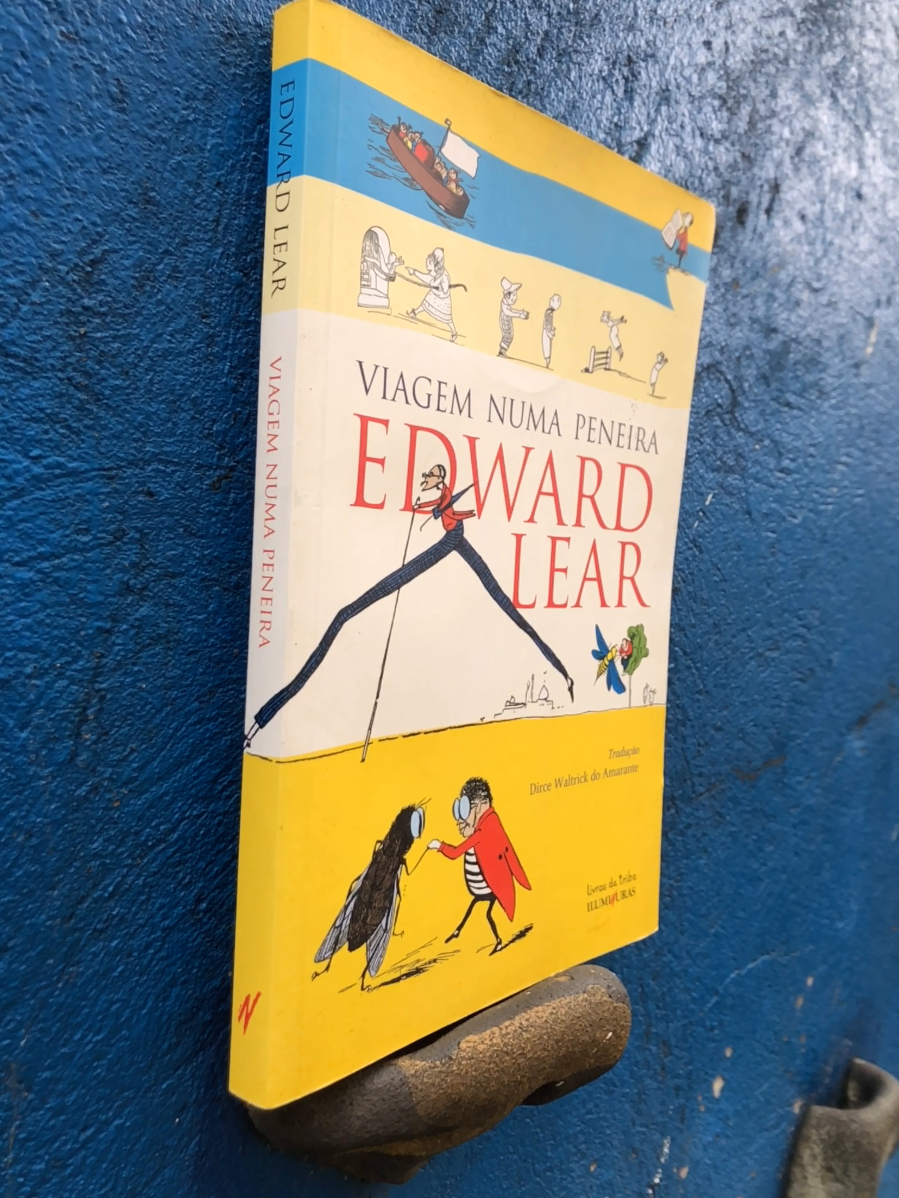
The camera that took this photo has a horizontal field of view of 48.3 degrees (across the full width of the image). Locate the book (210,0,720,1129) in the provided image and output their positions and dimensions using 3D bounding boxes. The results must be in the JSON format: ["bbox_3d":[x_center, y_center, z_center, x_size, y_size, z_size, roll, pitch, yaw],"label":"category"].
[{"bbox_3d":[0.017,-0.009,0.255,0.021,0.220,0.158,5,2,40],"label":"book"}]
